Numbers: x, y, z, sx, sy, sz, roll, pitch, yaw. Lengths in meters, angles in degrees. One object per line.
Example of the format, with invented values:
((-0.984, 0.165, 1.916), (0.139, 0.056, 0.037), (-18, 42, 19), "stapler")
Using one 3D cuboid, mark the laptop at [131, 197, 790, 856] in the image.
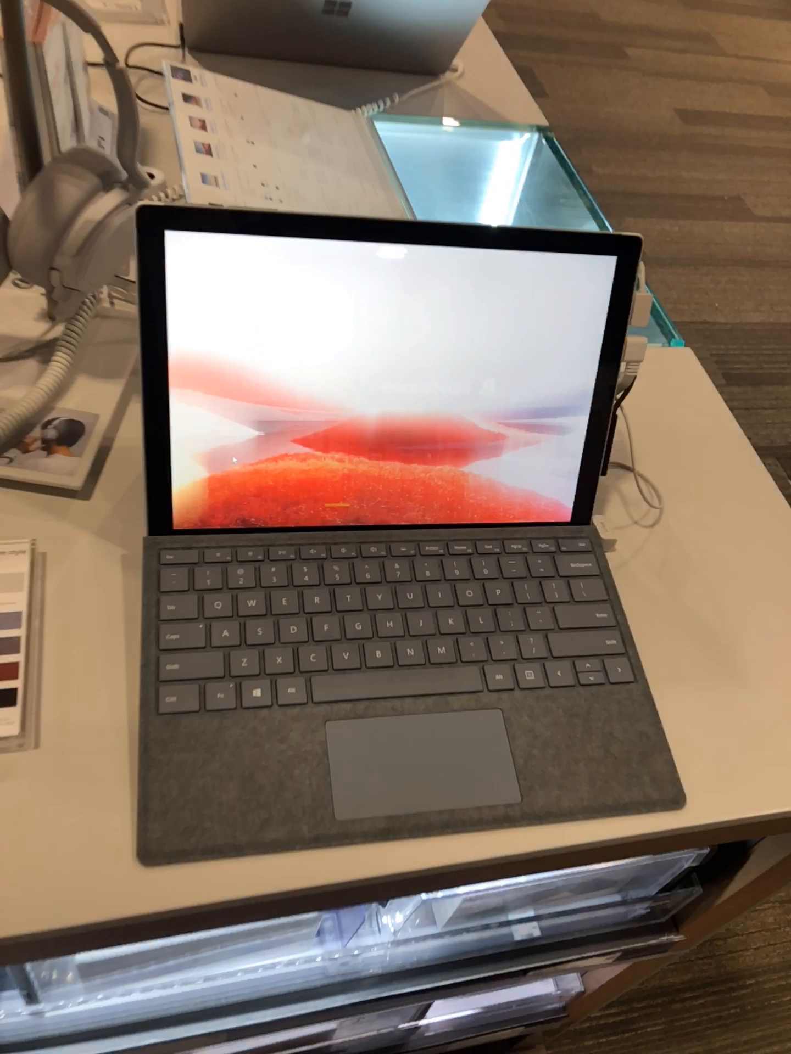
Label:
((0.010, -0.018, 0.458), (0.261, 0.143, 0.284), (-2, 56, -10), "laptop")
